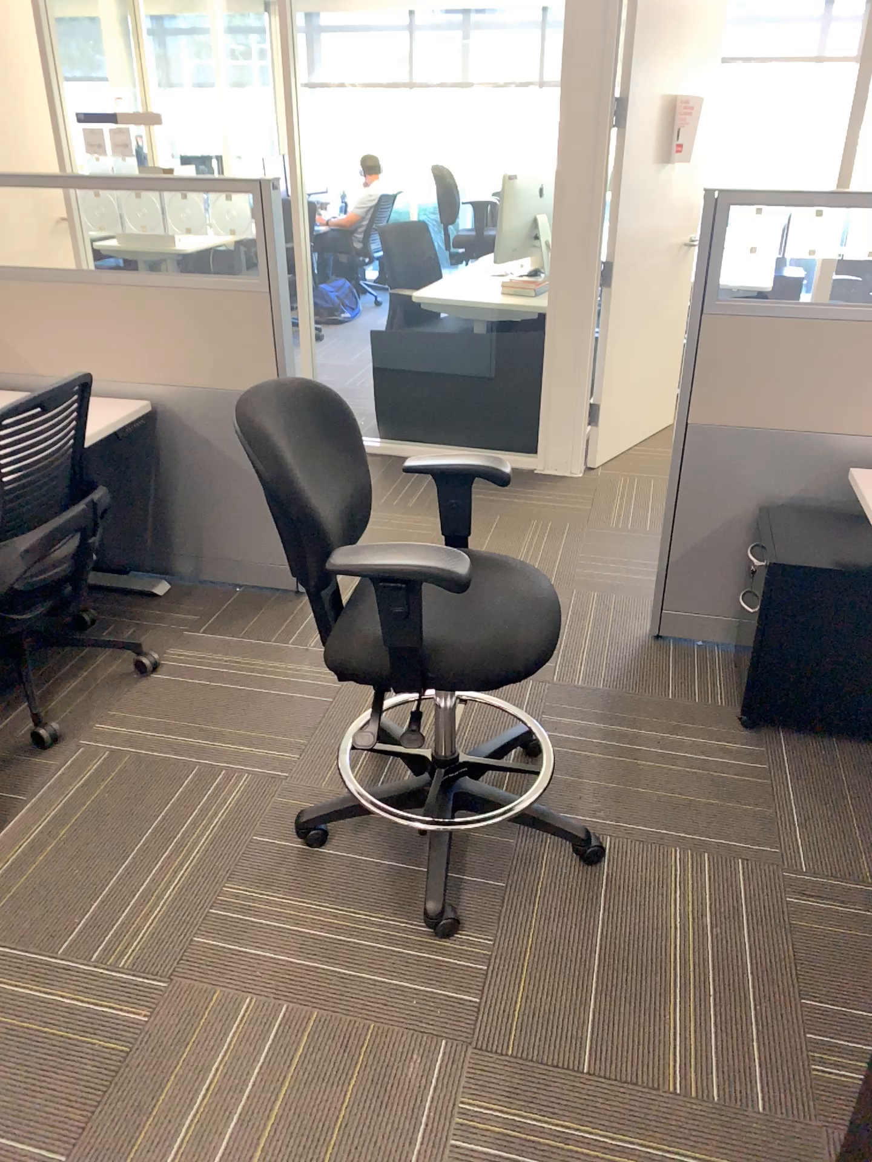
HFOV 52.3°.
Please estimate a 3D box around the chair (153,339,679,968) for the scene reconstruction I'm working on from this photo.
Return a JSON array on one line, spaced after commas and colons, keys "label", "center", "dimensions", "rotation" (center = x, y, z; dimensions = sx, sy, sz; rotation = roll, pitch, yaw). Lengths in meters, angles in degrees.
[{"label": "chair", "center": [0.024, 0.088, 1.929], "dimensions": [0.820, 1.004, 0.804], "rotation": [6, 28, 10]}]
